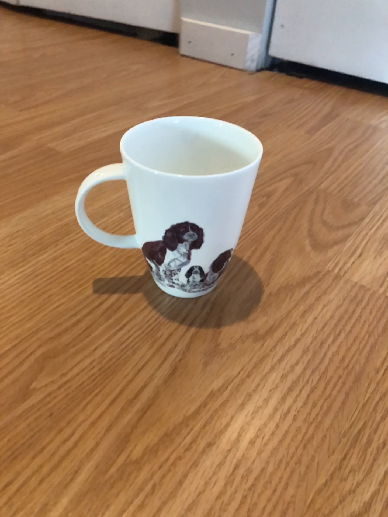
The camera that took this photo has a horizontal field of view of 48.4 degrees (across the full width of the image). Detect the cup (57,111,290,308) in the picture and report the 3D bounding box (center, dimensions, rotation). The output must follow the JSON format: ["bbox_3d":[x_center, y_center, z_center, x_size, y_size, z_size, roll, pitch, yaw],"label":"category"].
[{"bbox_3d":[-0.017,-0.035,0.283,0.120,0.090,0.090,-3,39,-9],"label":"cup"}]
